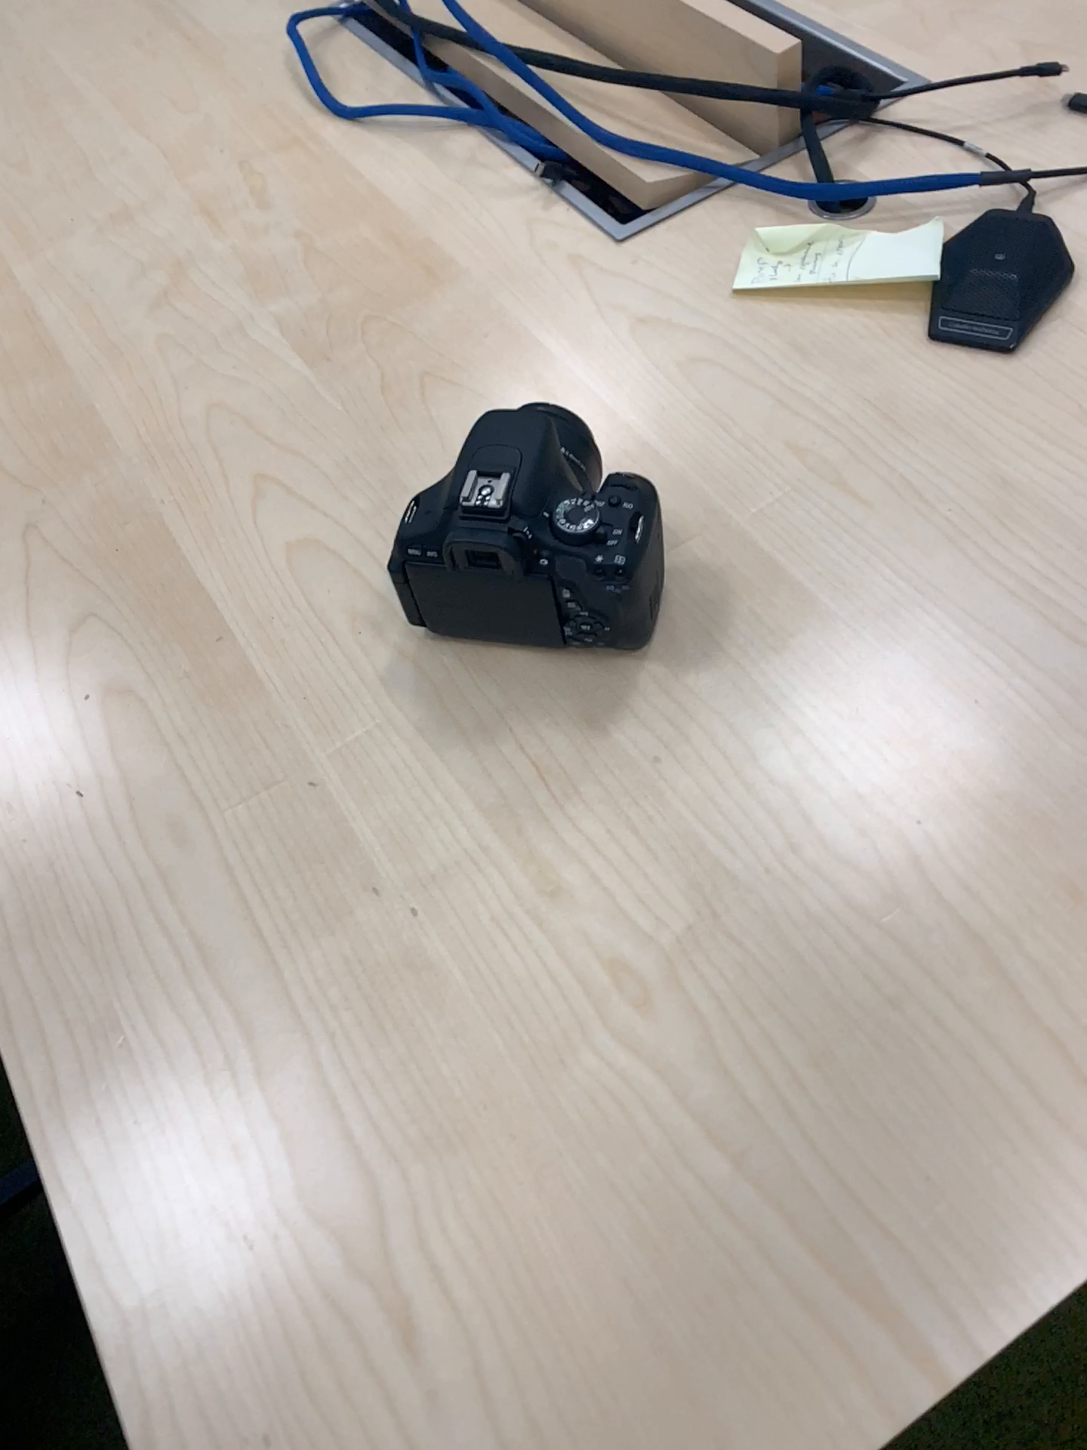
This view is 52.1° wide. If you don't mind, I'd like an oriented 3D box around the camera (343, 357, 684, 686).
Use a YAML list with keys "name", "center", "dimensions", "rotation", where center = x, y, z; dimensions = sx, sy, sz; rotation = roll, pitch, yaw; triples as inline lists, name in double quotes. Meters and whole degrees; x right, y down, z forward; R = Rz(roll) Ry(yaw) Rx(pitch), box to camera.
- name: "camera"
  center: [-0.007, -0.108, 0.582]
  dimensions: [0.140, 0.100, 0.123]
  rotation: [8, 58, 13]
